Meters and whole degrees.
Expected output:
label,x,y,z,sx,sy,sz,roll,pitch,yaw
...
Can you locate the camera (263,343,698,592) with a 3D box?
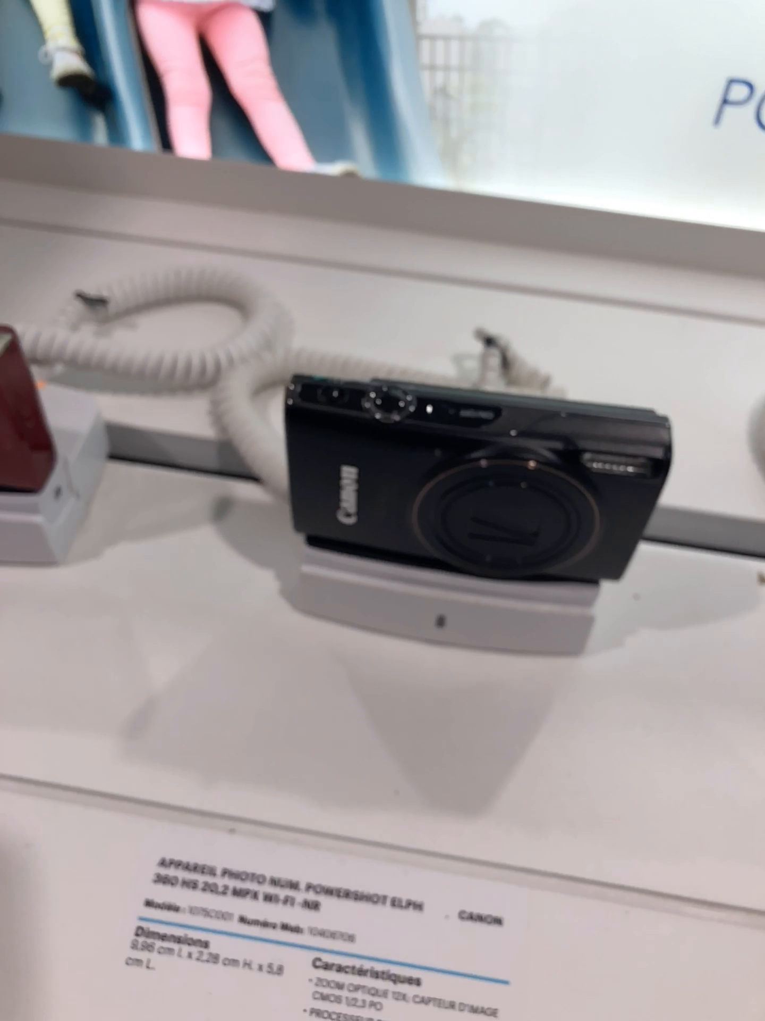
label,x,y,z,sx,sy,sz,roll,pitch,yaw
camera,0.025,-0.011,0.254,0.113,0.057,0.026,7,46,3
